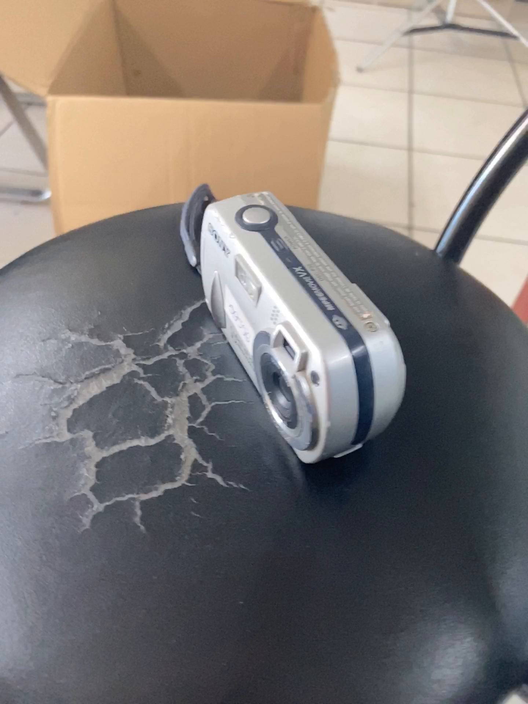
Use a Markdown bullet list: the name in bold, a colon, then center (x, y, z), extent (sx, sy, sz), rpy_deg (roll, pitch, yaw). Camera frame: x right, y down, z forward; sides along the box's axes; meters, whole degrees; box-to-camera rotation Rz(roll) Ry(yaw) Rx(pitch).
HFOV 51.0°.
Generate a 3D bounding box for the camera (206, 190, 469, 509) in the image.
- **camera**: center (0.017, -0.006, 0.197), extent (0.040, 0.050, 0.100), rpy_deg (-18, 52, -19)
